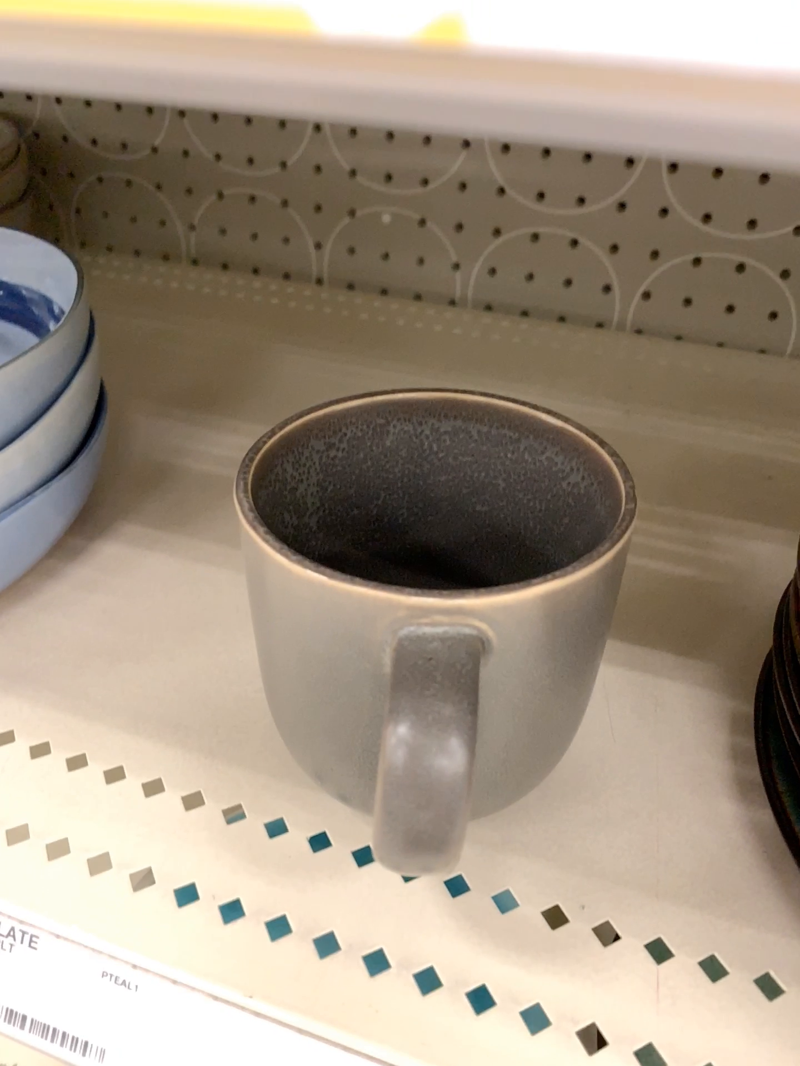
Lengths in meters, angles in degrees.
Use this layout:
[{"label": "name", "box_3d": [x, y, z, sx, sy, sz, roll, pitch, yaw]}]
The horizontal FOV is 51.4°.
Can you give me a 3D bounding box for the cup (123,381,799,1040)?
[{"label": "cup", "box_3d": [0.006, 0.030, 0.197, 0.100, 0.080, 0.131, 0, 36, -3]}]
